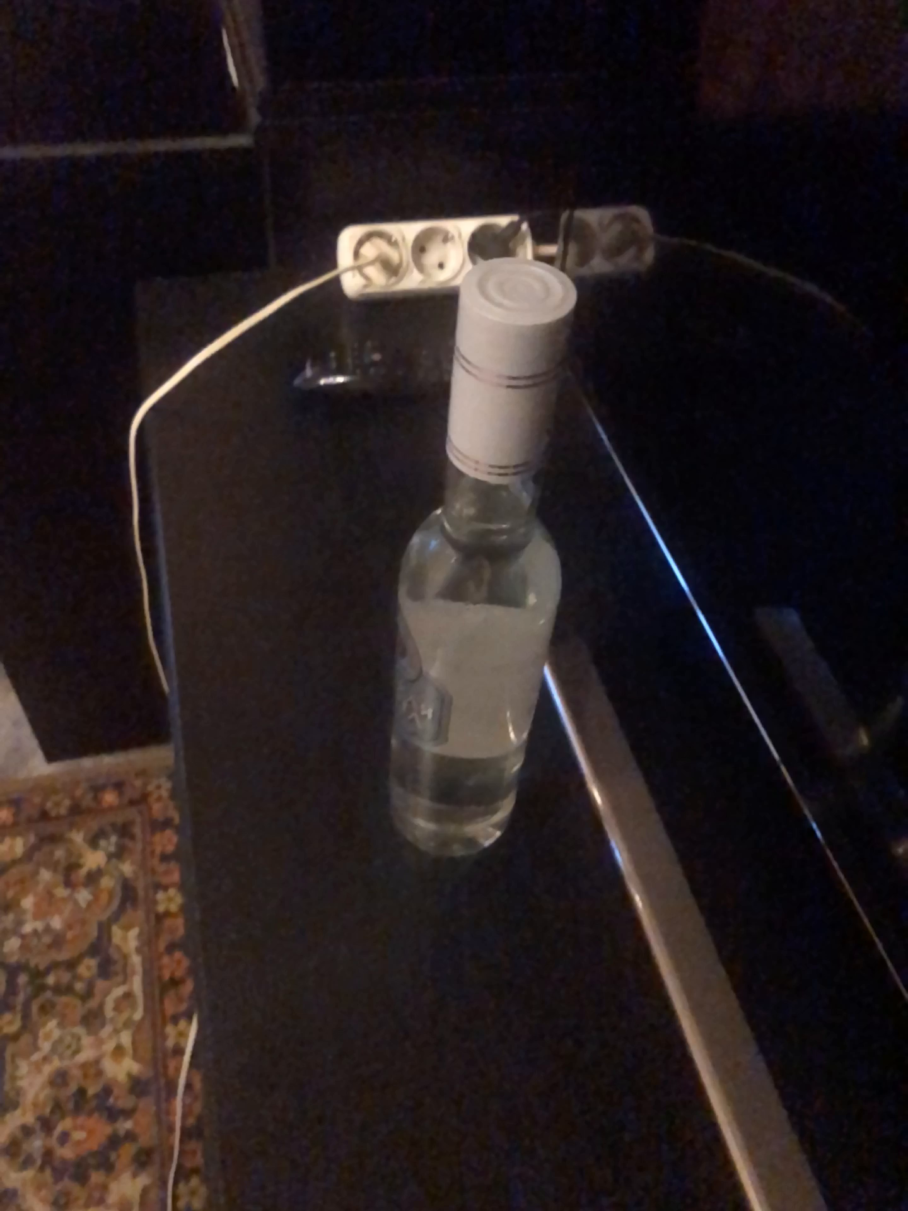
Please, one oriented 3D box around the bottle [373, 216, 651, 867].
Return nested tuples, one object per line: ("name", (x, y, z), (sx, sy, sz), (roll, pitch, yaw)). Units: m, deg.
("bottle", (0.006, 0.001, 0.398), (0.067, 0.290, 0.065), (2, 48, -3))
